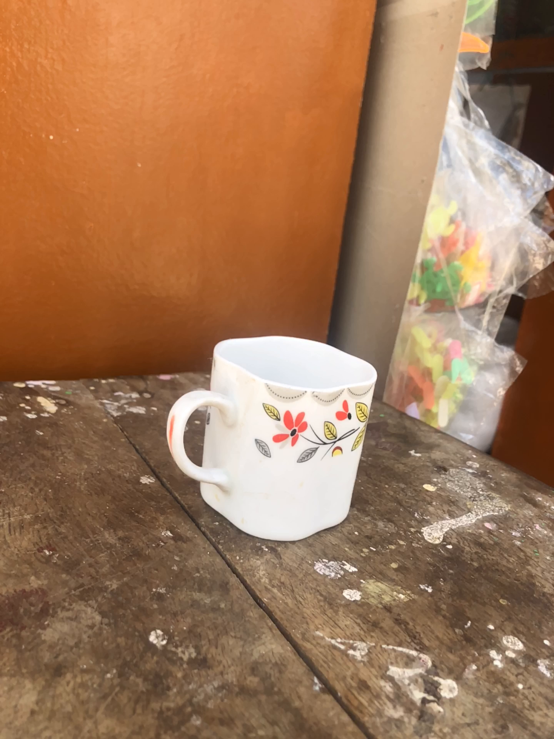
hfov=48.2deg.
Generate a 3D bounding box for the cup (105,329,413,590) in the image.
[{"bbox_3d":[-0.007,0.024,0.228,0.090,0.060,0.060,-7,21,-39],"label":"cup"}]
